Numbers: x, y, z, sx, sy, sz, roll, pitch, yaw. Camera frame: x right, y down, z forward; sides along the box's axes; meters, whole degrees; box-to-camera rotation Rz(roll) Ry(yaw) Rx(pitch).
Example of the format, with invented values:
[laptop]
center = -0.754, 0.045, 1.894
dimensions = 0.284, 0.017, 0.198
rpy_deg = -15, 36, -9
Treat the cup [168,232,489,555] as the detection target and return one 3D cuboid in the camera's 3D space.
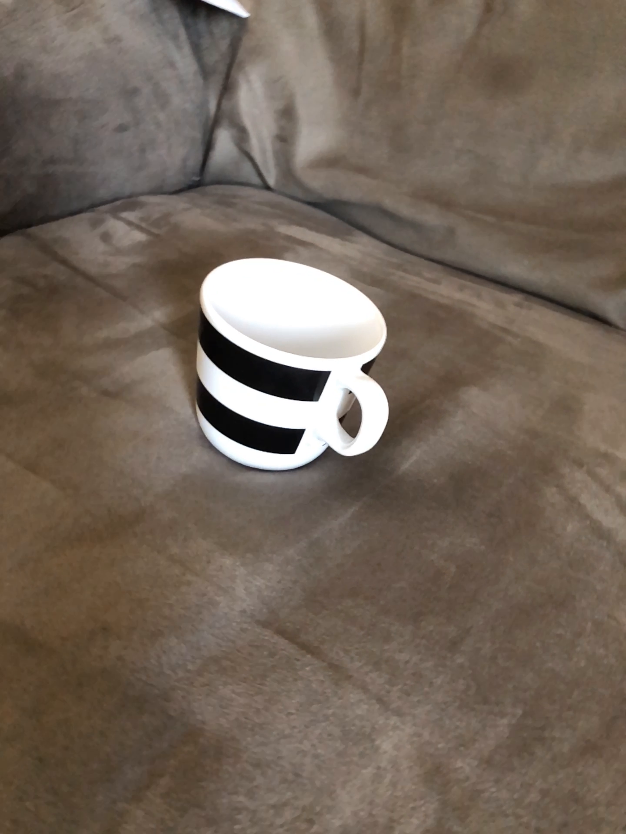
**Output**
[cup]
center = 0.000, -0.017, 0.313
dimensions = 0.080, 0.080, 0.110
rpy_deg = -18, 49, -34
